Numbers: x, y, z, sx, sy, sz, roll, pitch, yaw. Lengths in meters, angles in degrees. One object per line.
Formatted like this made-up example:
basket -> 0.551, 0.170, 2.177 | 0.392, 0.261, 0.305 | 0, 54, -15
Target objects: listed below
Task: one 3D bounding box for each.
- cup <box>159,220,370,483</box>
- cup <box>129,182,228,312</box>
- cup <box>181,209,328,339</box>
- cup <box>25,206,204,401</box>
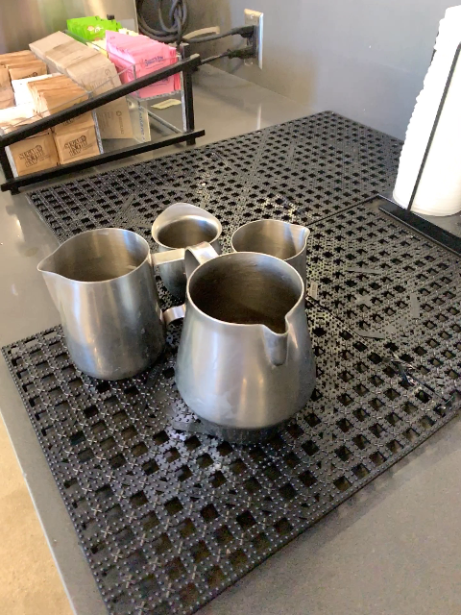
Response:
cup -> 0.016, 0.028, 0.368 | 0.100, 0.119, 0.141 | -13, 43, -14
cup -> -0.053, -0.064, 0.476 | 0.070, 0.070, 0.111 | -13, 43, -13
cup -> 0.020, -0.034, 0.440 | 0.110, 0.070, 0.070 | -16, 43, -16
cup -> -0.096, -0.005, 0.415 | 0.120, 0.119, 0.080 | -16, 44, -17
